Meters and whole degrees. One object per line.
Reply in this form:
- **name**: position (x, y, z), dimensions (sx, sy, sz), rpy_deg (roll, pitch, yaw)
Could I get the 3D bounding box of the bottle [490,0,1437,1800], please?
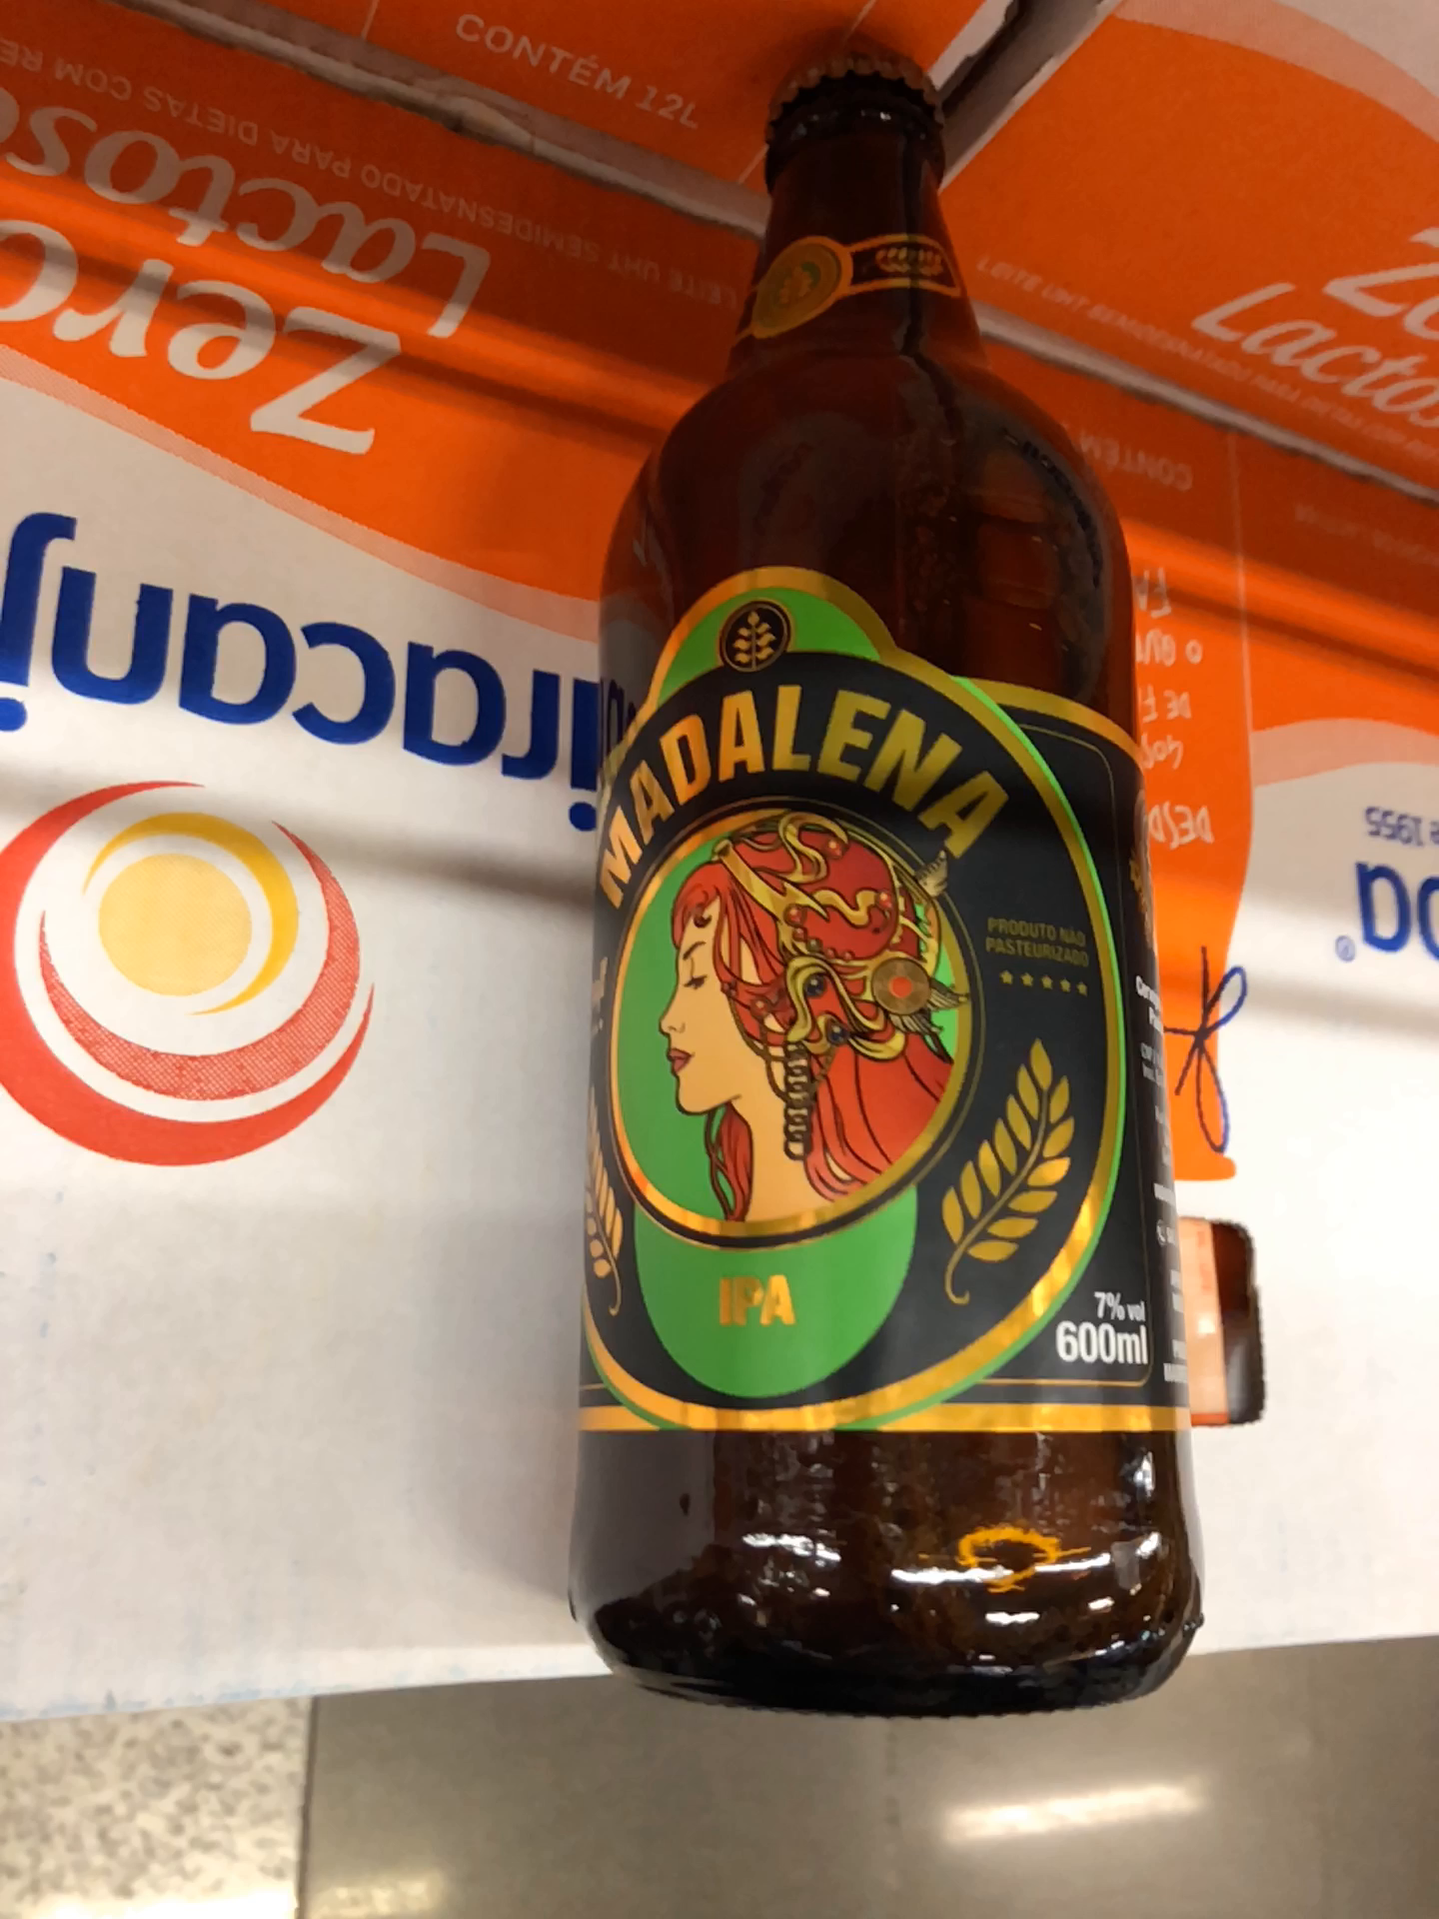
- **bottle**: position (0.029, -0.043, 0.237), dimensions (0.100, 0.060, 0.280), rpy_deg (8, 73, -26)
